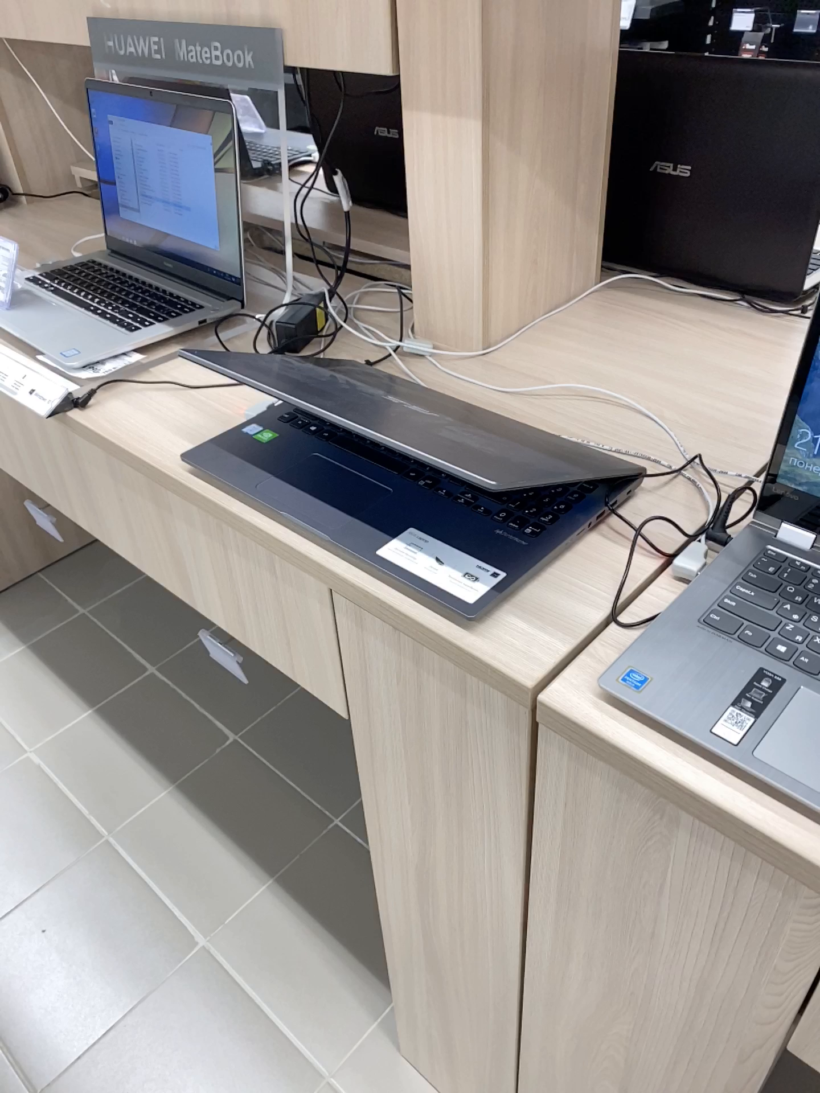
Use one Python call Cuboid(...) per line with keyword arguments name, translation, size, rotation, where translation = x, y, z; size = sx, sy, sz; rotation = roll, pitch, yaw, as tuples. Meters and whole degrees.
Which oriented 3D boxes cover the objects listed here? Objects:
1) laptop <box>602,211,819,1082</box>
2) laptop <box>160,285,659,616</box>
Cuboid(name="laptop", translation=(0.335, -0.001, 0.444), size=(0.353, 0.222, 0.259), rotation=(26, 47, 34))
Cuboid(name="laptop", translation=(-0.009, -0.110, 0.727), size=(0.356, 0.097, 0.230), rotation=(28, 47, 35))
